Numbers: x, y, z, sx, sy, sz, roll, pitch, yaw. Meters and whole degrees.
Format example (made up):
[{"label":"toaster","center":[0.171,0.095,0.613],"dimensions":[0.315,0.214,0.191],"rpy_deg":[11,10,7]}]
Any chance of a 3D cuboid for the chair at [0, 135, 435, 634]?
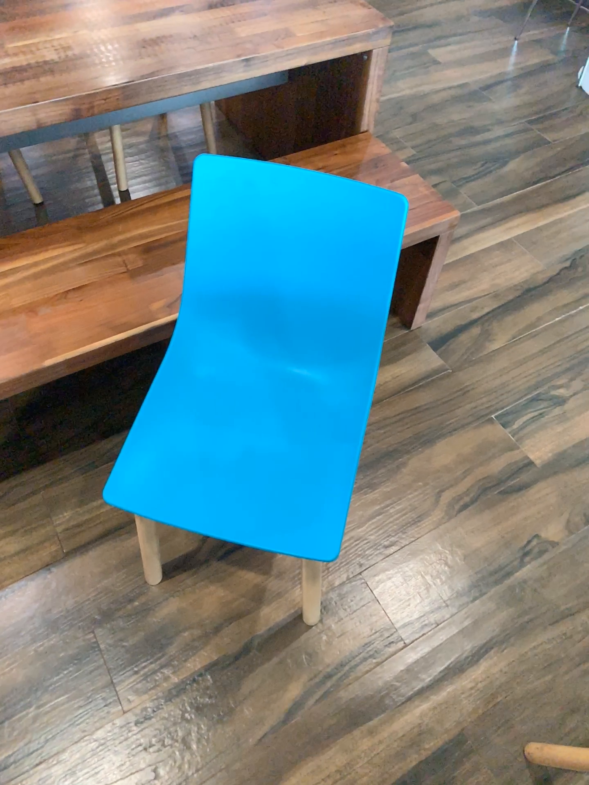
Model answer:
[{"label":"chair","center":[-0.095,0.014,1.153],"dimensions":[0.510,0.665,0.584],"rpy_deg":[13,54,5]}]
